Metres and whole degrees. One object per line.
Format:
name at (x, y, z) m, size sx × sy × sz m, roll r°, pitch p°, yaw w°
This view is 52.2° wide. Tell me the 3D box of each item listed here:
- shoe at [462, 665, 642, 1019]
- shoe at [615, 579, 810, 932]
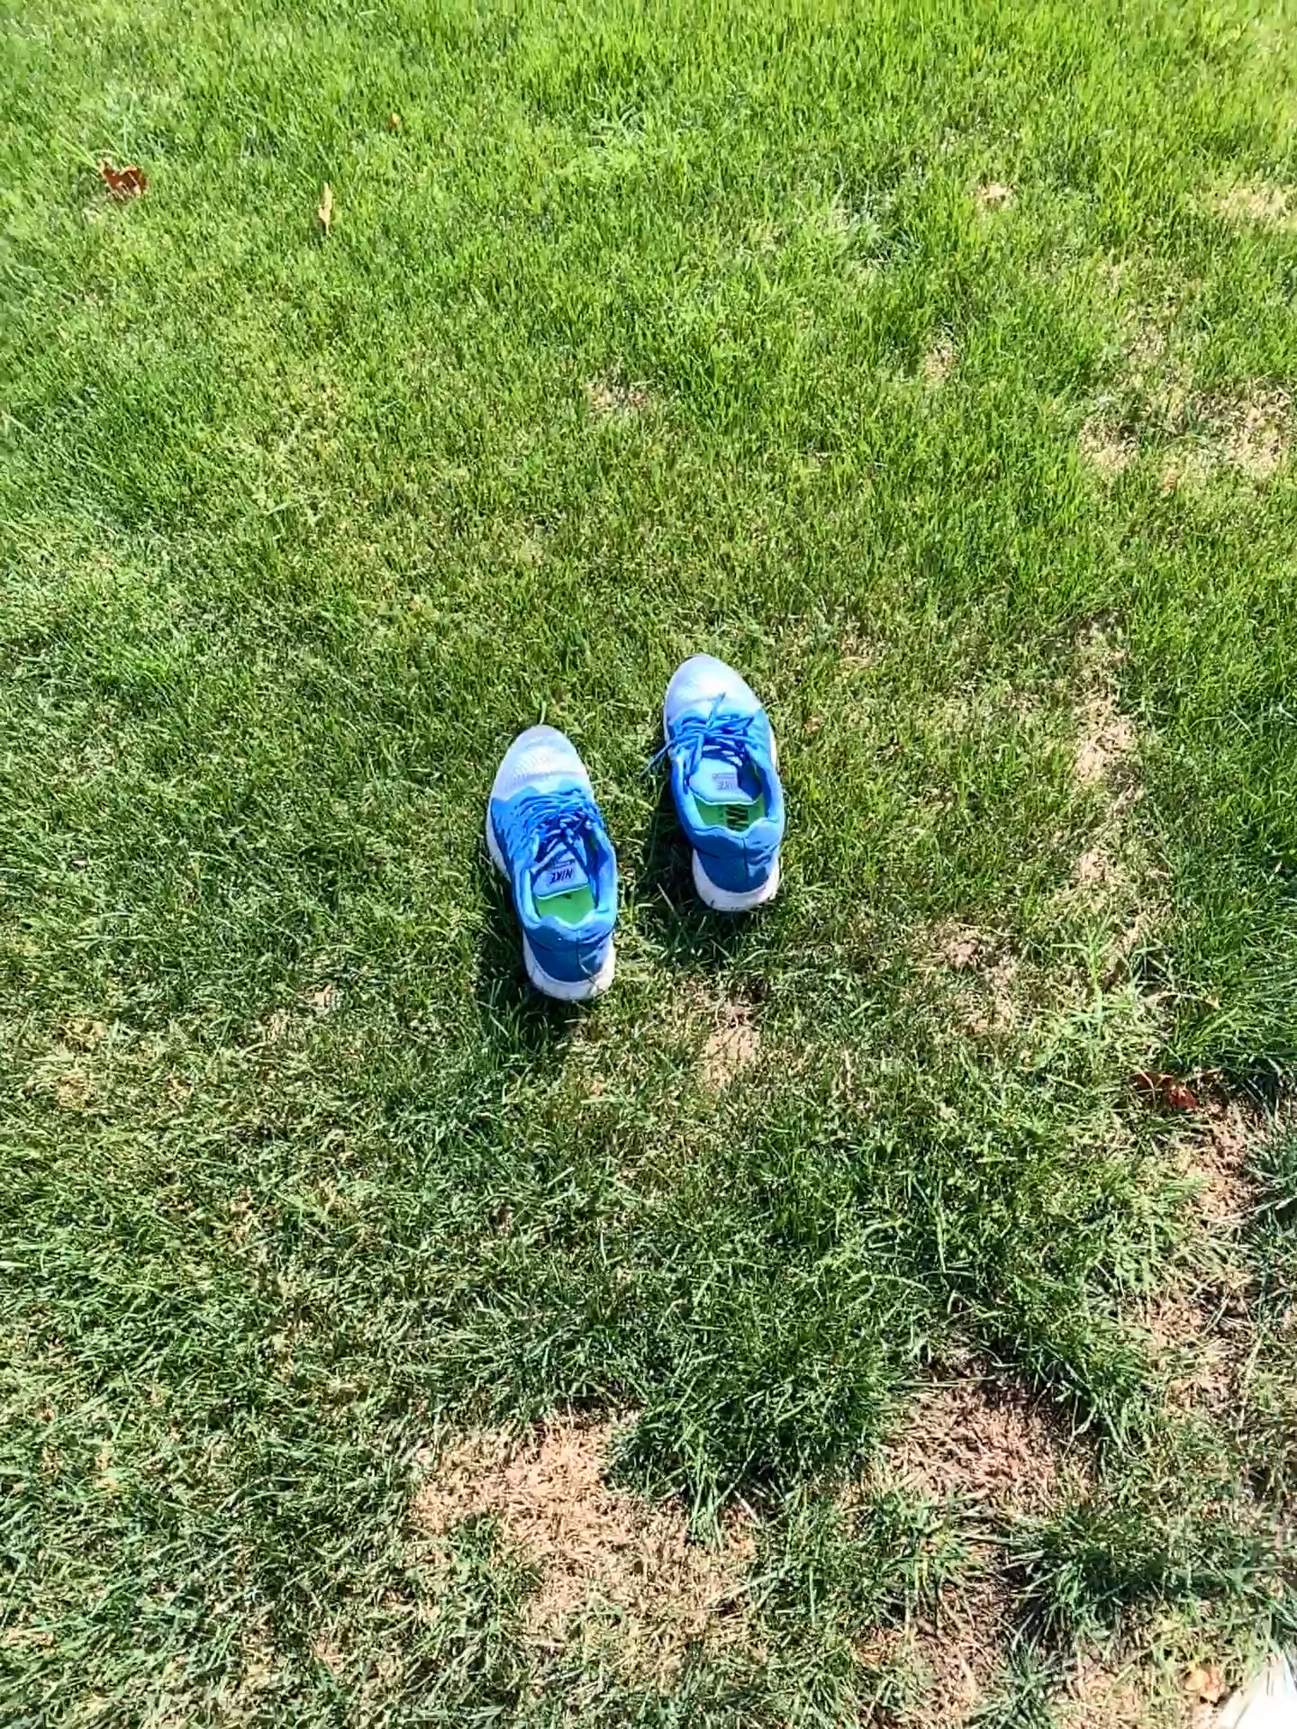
shoe at (-0.090, -0.024, 1.213) m, size 0.120 × 0.120 × 0.291 m, roll -9°, pitch 59°, yaw -1°
shoe at (0.057, -0.105, 1.257) m, size 0.130 × 0.140 × 0.291 m, roll -9°, pitch 59°, yaw -1°
